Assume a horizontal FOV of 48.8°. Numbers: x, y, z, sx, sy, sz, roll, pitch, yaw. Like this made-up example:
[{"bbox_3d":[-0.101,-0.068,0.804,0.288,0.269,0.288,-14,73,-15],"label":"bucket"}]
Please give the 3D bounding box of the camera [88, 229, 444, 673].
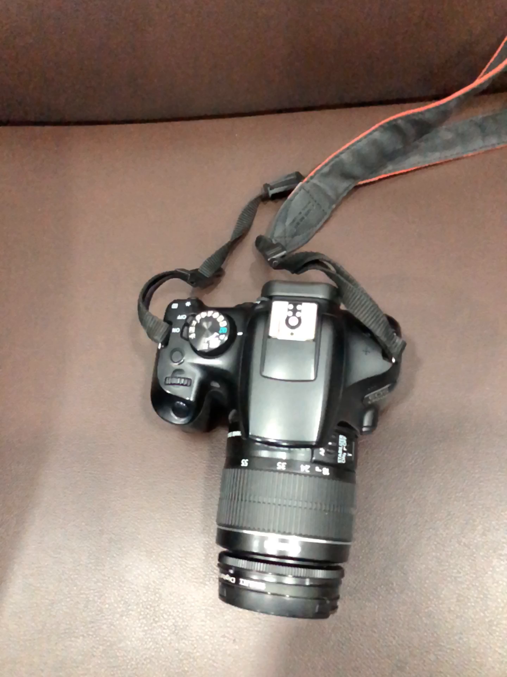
[{"bbox_3d":[0.015,0.047,0.272,0.130,0.090,0.170,4,70,8],"label":"camera"}]
